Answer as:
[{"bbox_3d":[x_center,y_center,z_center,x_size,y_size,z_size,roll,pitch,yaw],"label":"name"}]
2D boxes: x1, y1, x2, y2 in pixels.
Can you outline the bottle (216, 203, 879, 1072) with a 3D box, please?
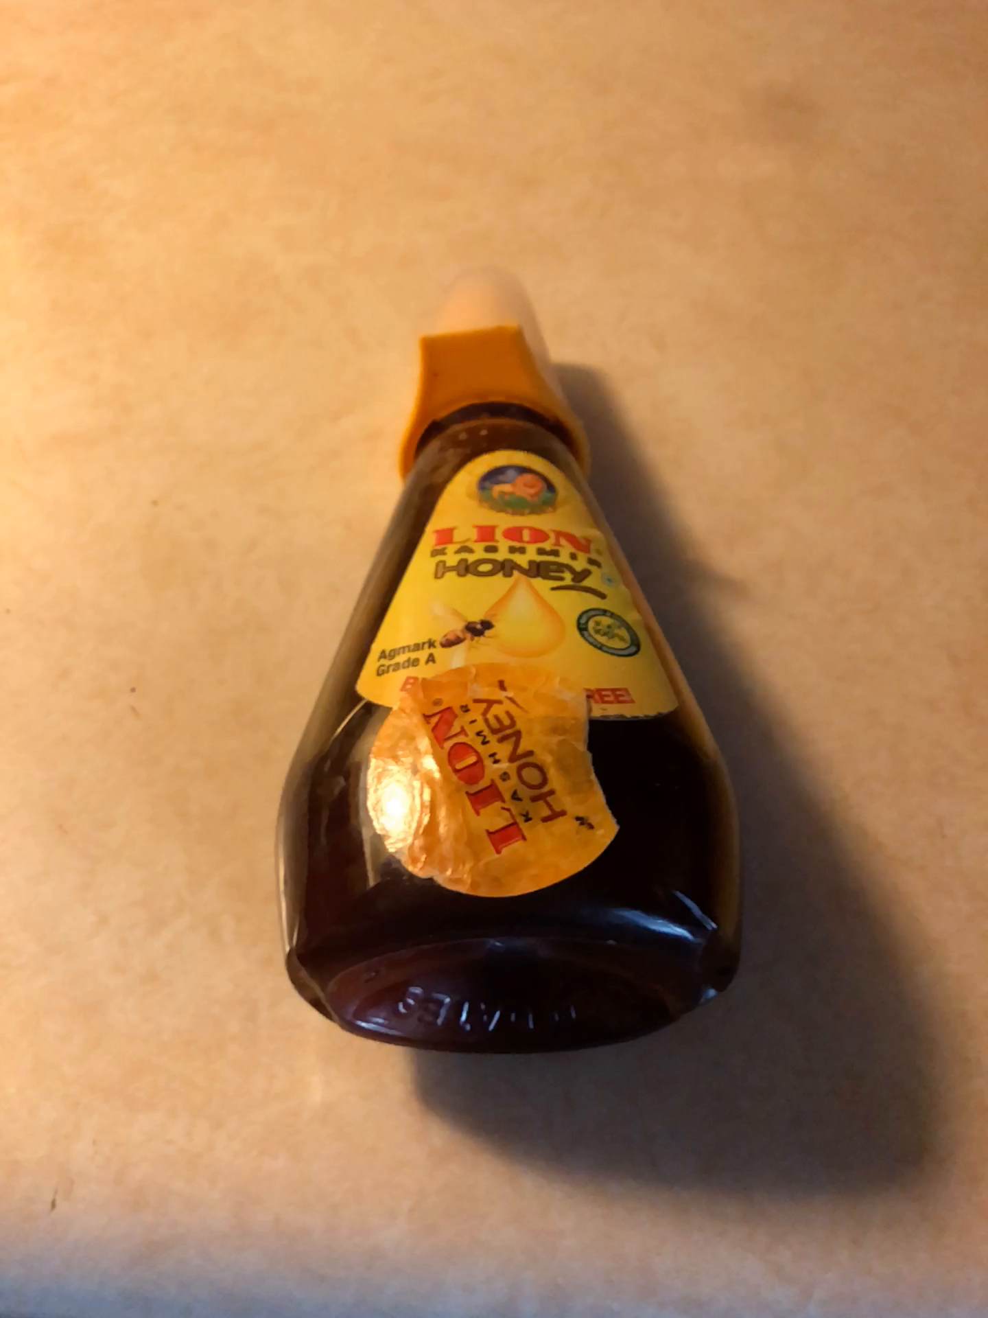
[{"bbox_3d":[0.004,-0.020,0.231,0.090,0.050,0.190,0,51,-3],"label":"bottle"}]
